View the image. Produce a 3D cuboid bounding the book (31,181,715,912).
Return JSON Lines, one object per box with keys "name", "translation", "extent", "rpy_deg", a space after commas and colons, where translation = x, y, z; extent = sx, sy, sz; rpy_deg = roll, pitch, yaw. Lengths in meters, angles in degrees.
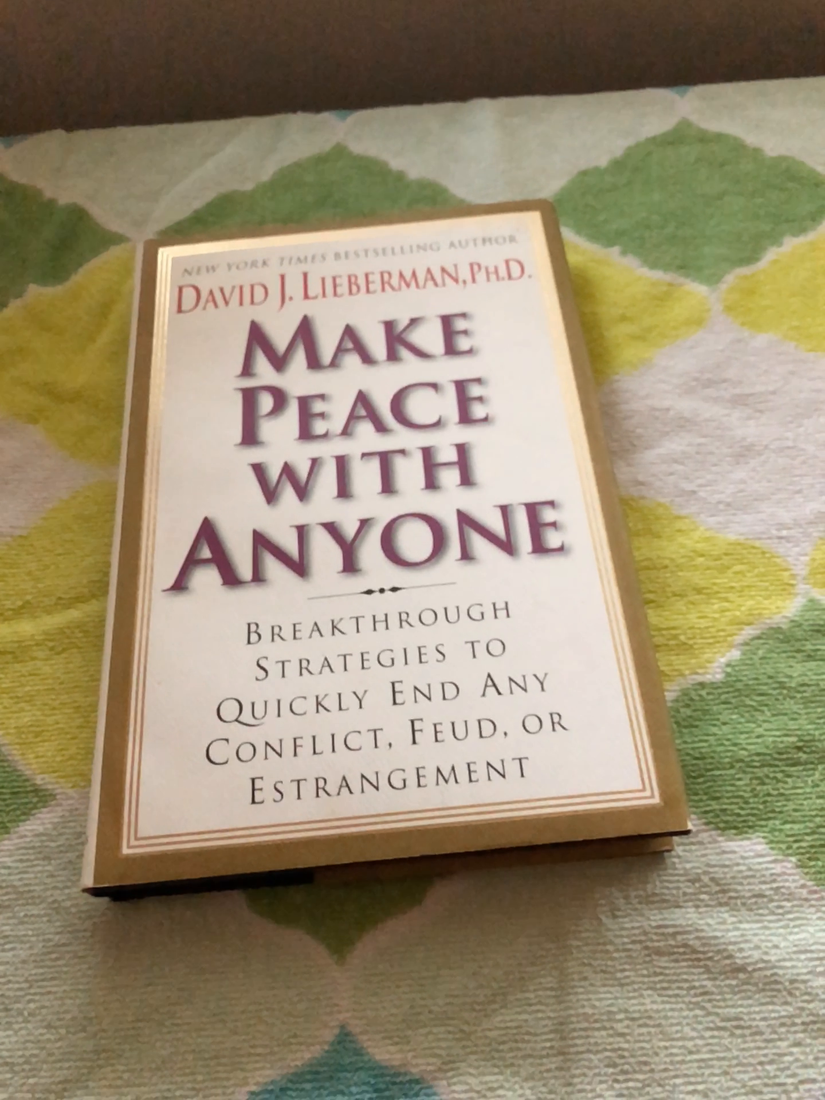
{"name": "book", "translation": [-0.016, -0.016, 0.259], "extent": [0.145, 0.030, 0.205], "rpy_deg": [-6, 60, 0]}
